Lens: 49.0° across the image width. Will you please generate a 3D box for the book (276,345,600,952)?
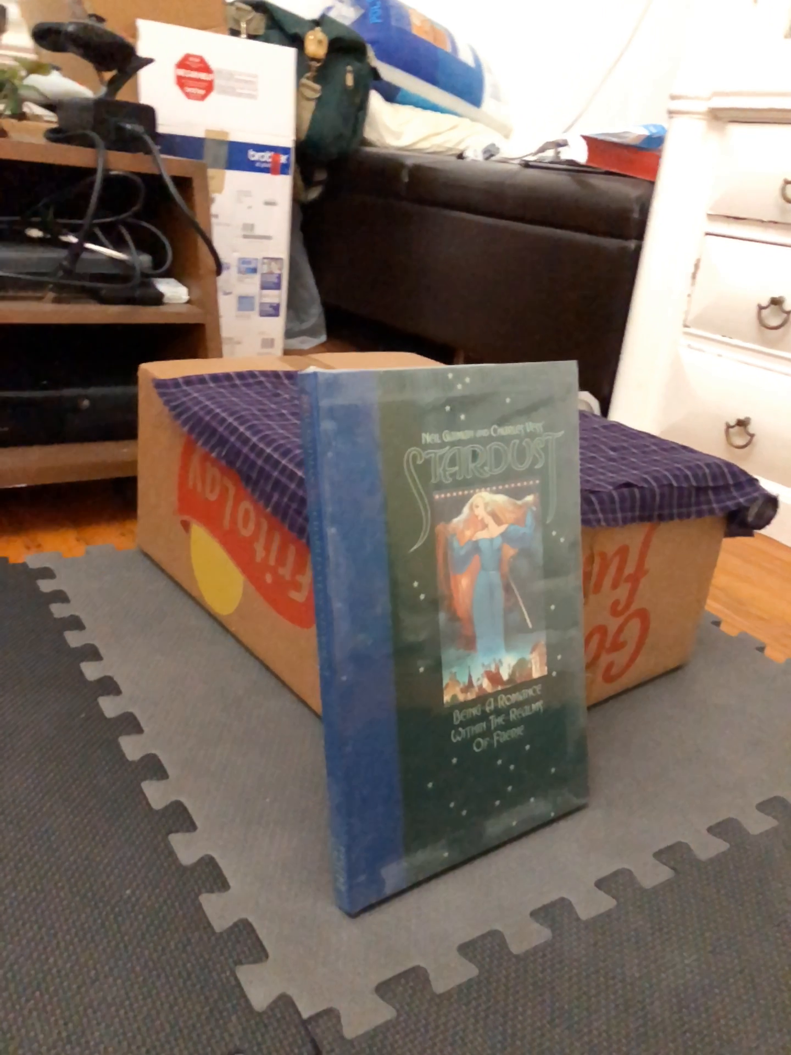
[{"bbox_3d":[0.040,0.060,0.533,0.211,0.329,0.020,-10,10,-35],"label":"book"}]
